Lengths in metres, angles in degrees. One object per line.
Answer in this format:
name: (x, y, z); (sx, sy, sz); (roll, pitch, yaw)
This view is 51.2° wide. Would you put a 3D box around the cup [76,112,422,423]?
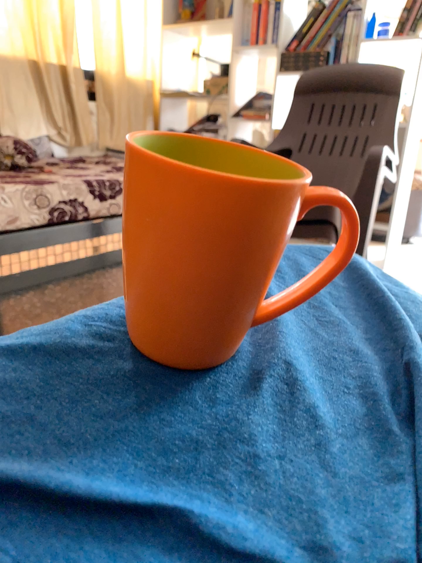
cup: (0.011, -0.010, 0.208); (0.120, 0.089, 0.101); (10, 29, -13)
